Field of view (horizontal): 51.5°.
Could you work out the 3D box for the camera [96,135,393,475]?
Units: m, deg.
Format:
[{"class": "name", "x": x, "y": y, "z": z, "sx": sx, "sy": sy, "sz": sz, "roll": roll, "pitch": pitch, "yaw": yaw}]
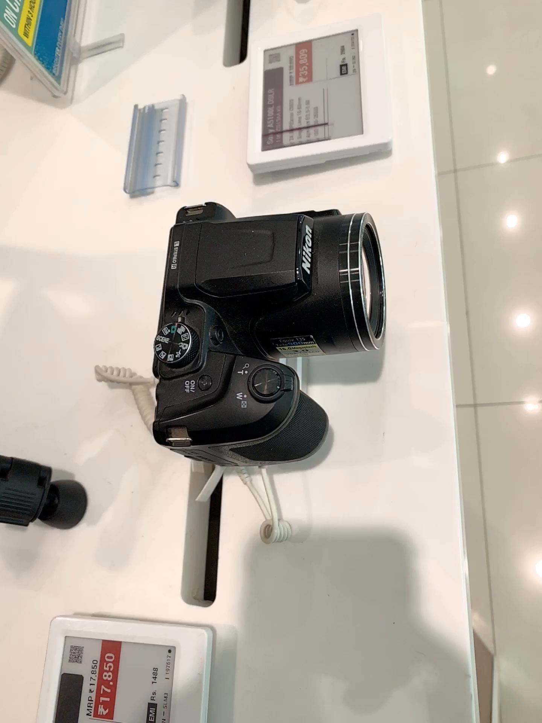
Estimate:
[{"class": "camera", "x": -0.004, "y": -0.016, "z": 0.253, "sx": 0.100, "sy": 0.080, "sz": 0.120, "roll": -5, "pitch": 69, "yaw": 20}]
